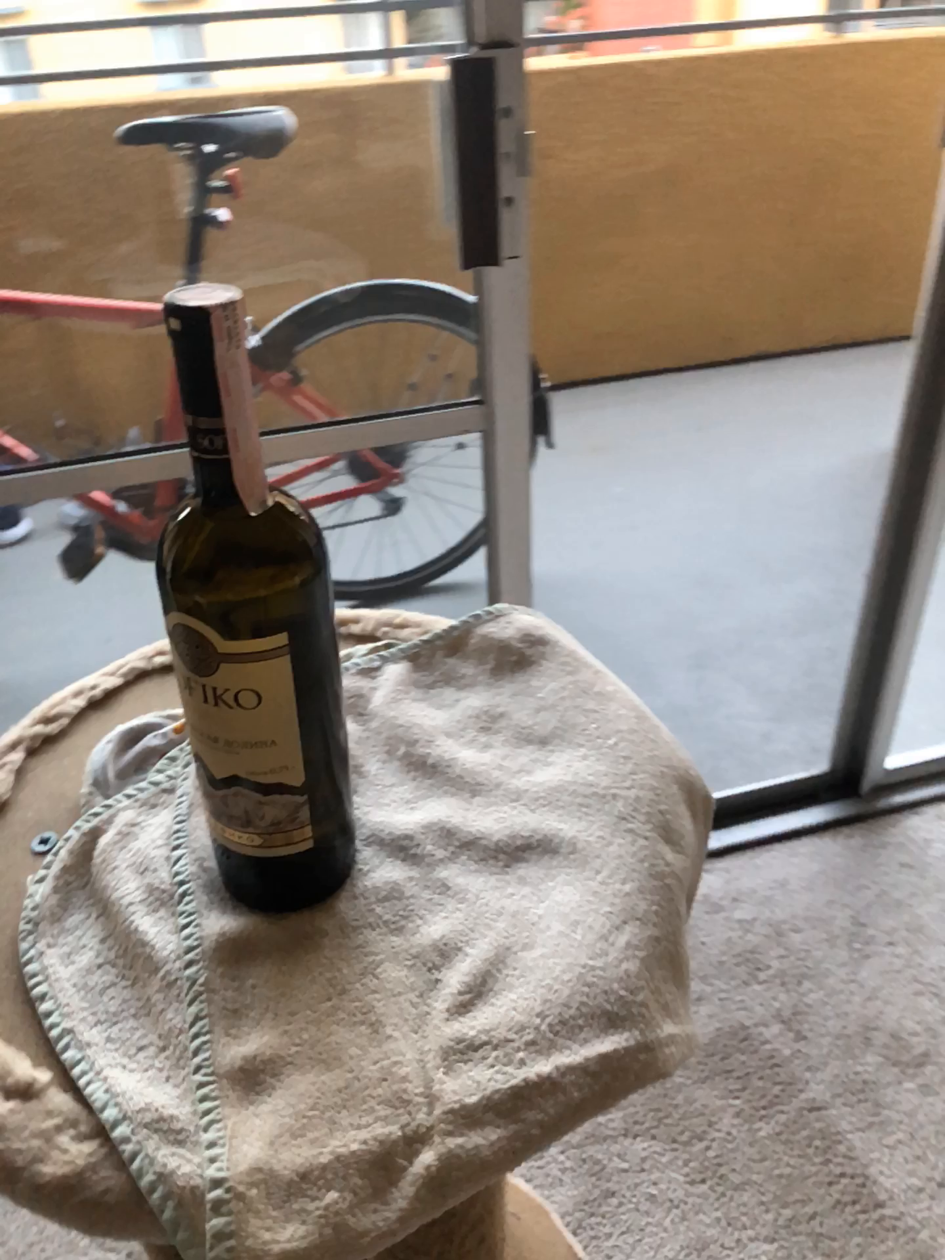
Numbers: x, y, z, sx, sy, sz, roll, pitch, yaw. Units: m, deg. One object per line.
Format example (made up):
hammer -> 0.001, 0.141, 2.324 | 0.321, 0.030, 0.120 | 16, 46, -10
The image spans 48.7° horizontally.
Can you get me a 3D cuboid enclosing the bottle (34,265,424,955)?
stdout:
bottle -> -0.086, 0.002, 0.433 | 0.080, 0.269, 0.080 | -2, 35, 1
